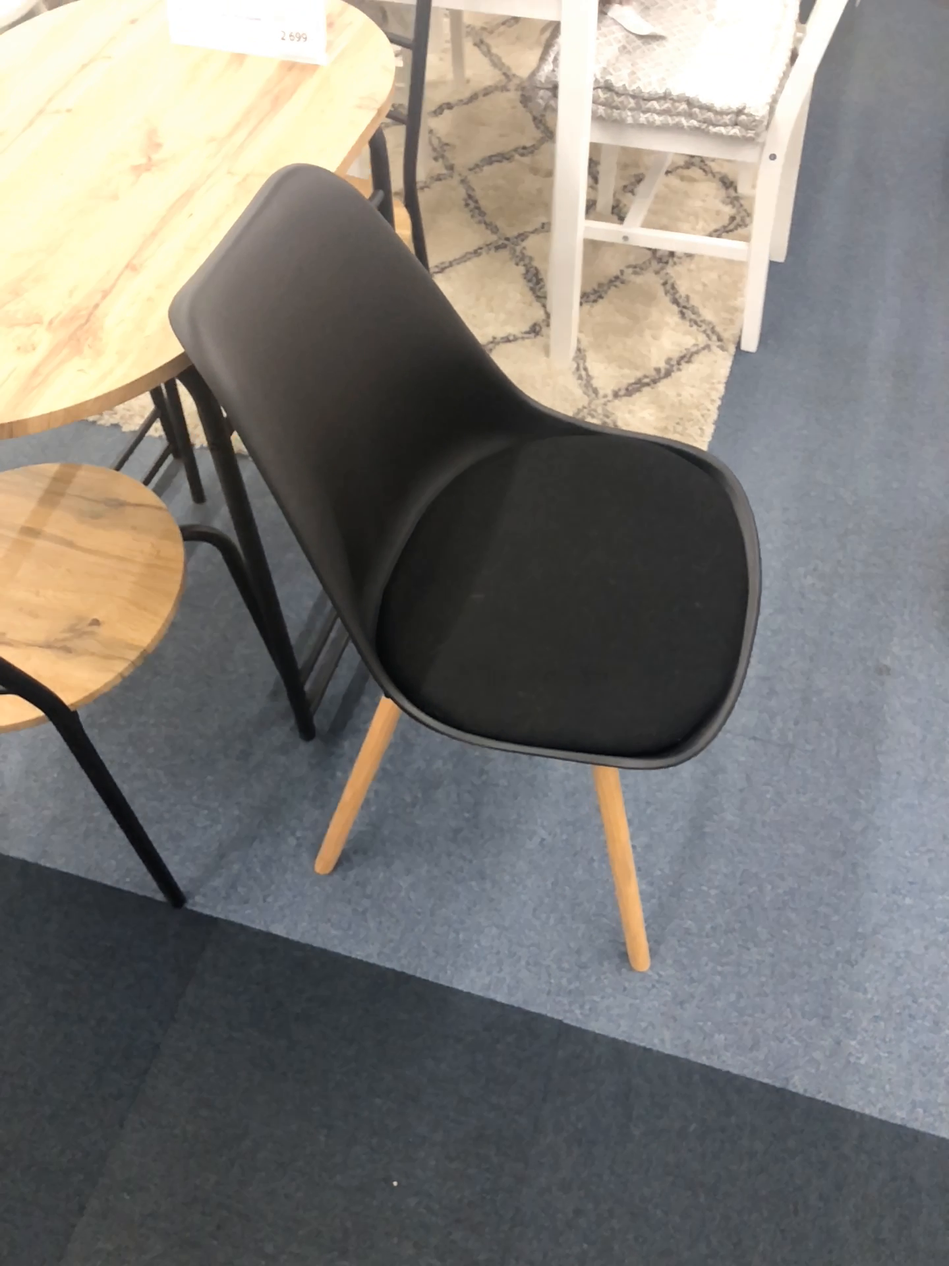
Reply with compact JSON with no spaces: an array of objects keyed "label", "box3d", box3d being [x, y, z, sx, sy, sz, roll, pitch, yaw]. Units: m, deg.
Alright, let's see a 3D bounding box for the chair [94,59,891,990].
[{"label":"chair","box3d":[0.059,-0.052,1.162,0.500,0.858,0.491,14,55,12]}]
